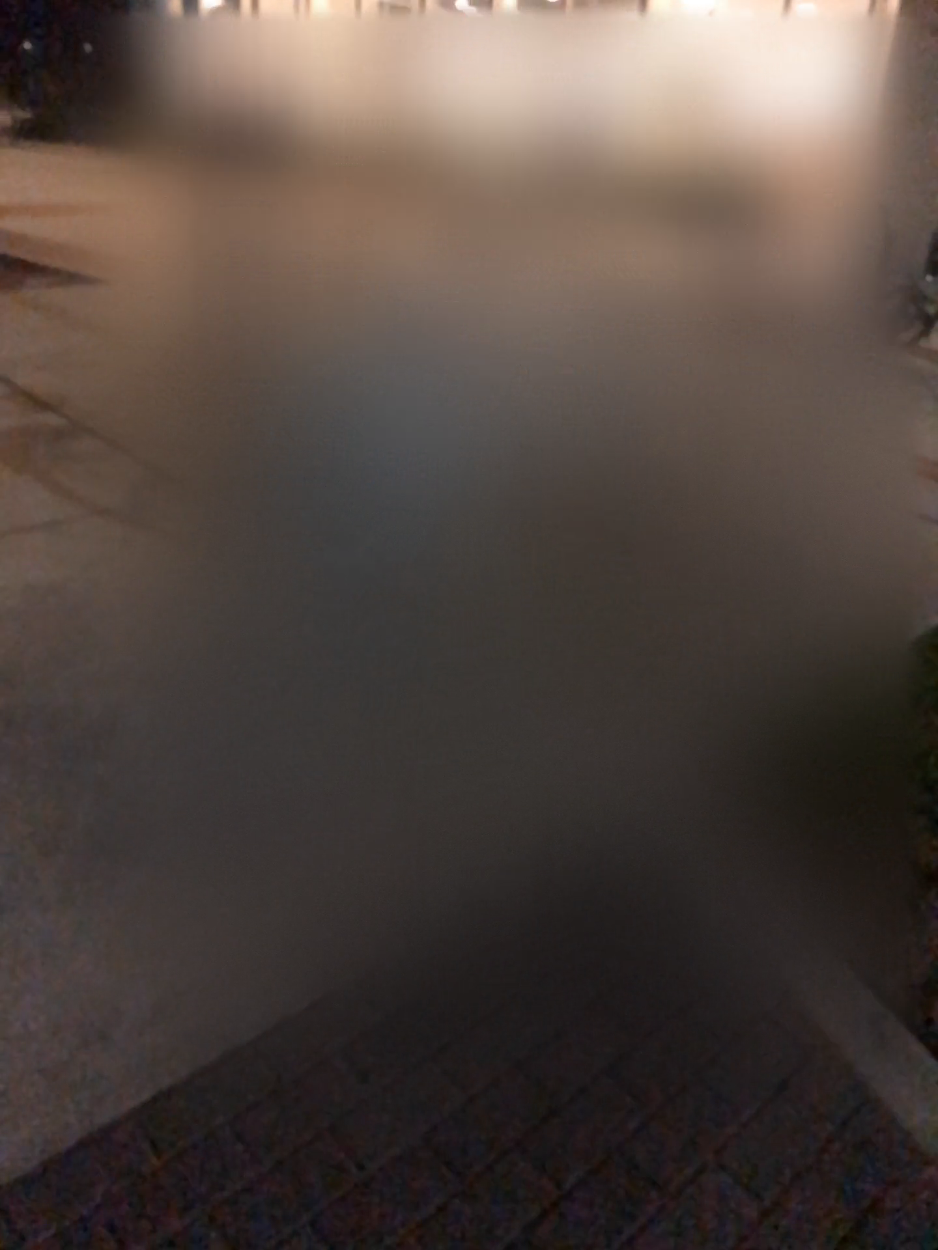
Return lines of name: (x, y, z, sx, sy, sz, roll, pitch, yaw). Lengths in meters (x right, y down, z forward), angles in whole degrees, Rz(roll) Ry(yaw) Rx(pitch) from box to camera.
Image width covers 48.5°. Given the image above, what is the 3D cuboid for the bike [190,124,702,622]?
bike: (-0.046, -0.969, 3.438, 1.684, 1.094, 0.742, -25, 38, -38)
